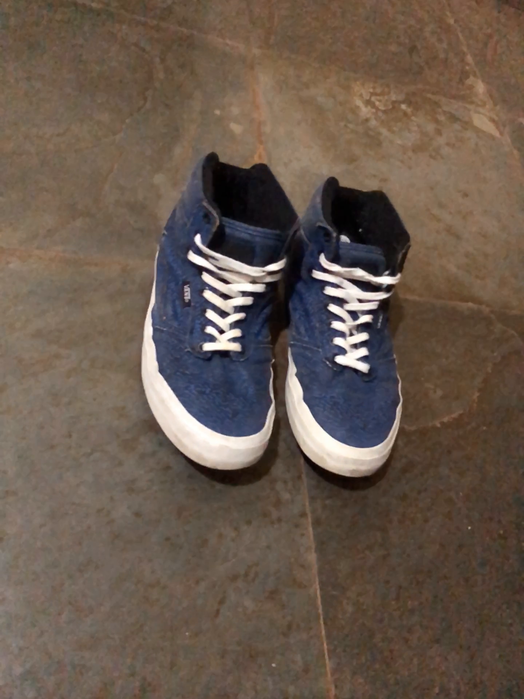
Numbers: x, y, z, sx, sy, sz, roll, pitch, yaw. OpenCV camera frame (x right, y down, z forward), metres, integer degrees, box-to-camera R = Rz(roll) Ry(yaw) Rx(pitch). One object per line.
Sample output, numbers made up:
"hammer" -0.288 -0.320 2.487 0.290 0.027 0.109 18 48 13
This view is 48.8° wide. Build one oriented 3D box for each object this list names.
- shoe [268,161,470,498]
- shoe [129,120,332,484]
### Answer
"shoe" 0.078 -0.025 0.513 0.120 0.089 0.281 9 56 -15
"shoe" -0.035 -0.044 0.485 0.120 0.109 0.281 7 57 -17
